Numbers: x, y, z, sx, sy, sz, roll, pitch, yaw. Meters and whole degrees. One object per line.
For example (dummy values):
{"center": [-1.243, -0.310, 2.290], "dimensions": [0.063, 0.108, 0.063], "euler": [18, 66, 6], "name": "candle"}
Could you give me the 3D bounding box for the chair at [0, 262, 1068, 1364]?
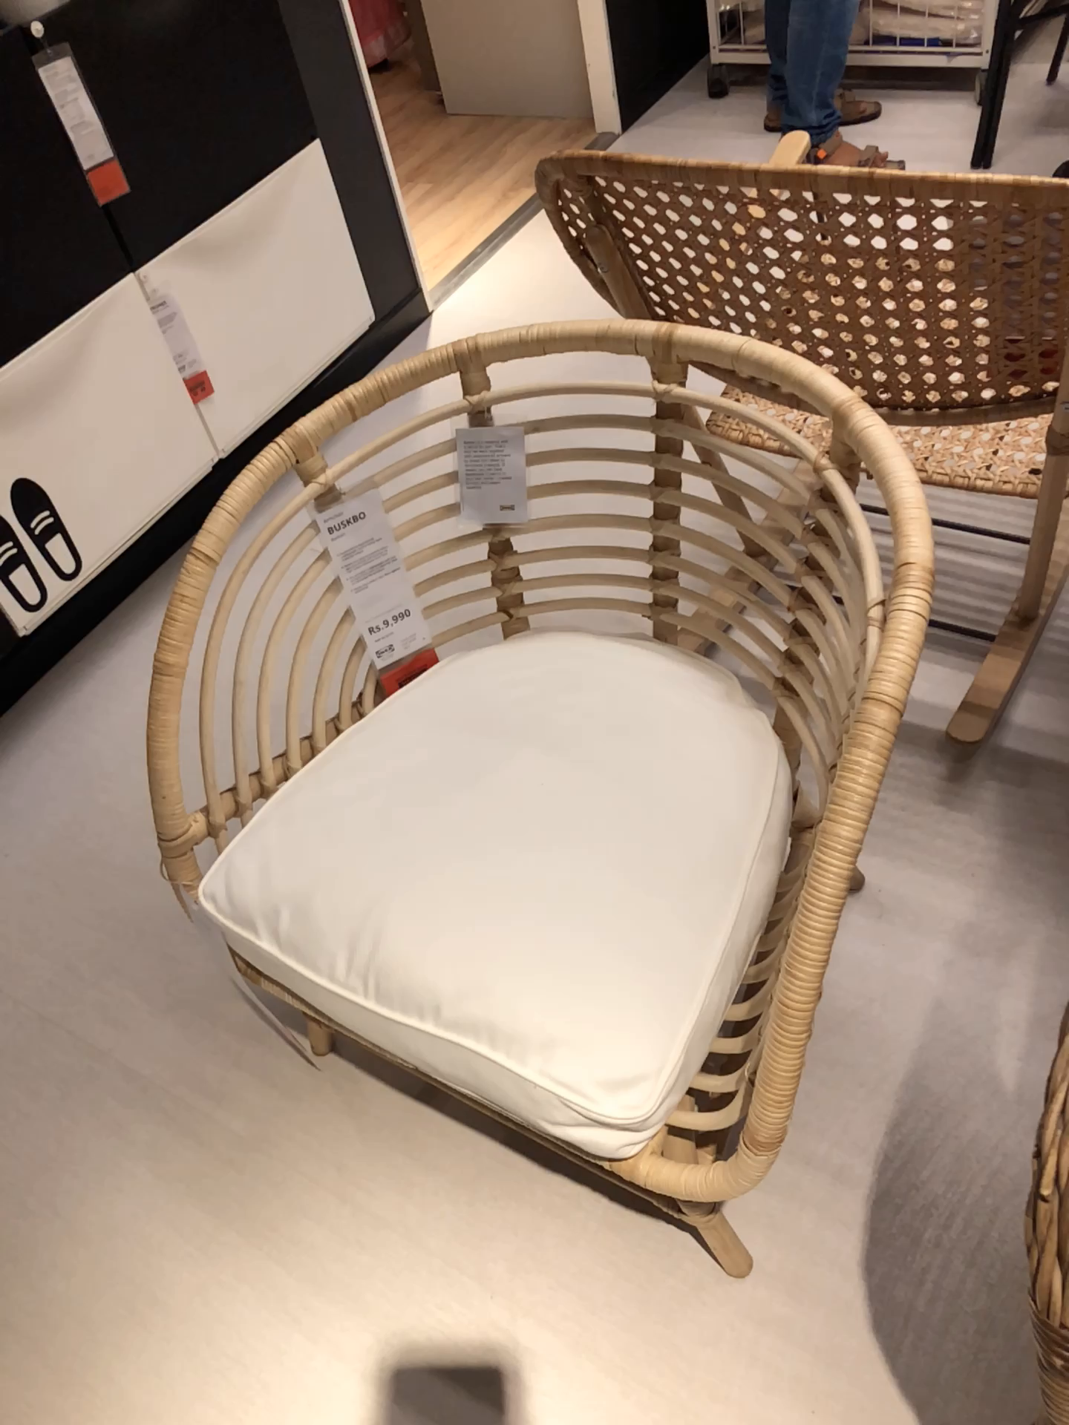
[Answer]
{"center": [0.071, 0.068, 1.319], "dimensions": [0.782, 0.775, 0.702], "euler": [19, 55, 30], "name": "chair"}
